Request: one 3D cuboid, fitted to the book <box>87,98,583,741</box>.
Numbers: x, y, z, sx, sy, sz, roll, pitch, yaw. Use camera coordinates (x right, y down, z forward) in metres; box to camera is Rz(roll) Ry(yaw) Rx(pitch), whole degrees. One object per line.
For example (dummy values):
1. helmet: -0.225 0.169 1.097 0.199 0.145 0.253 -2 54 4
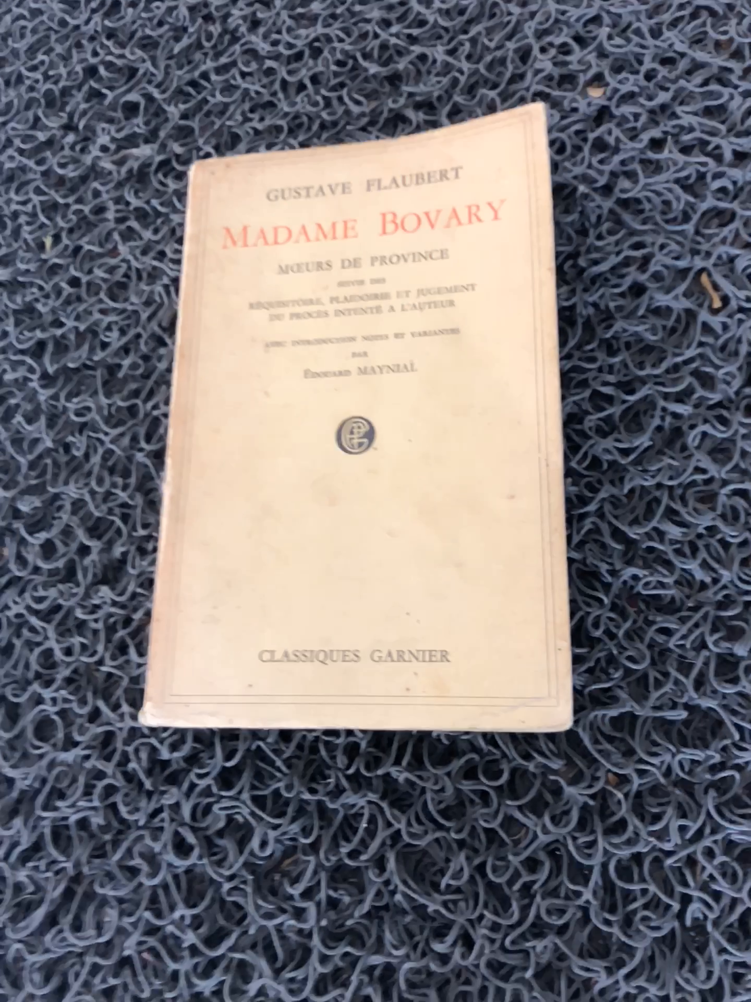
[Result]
1. book: -0.009 -0.024 0.247 0.124 0.035 0.180 -2 73 10
